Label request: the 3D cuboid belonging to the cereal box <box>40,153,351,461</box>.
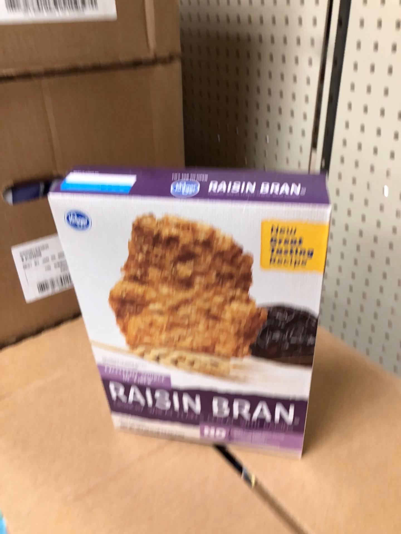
[{"bbox_3d":[0.002,0.046,0.381,0.200,0.269,0.060,4,35,10],"label":"cereal box"}]
